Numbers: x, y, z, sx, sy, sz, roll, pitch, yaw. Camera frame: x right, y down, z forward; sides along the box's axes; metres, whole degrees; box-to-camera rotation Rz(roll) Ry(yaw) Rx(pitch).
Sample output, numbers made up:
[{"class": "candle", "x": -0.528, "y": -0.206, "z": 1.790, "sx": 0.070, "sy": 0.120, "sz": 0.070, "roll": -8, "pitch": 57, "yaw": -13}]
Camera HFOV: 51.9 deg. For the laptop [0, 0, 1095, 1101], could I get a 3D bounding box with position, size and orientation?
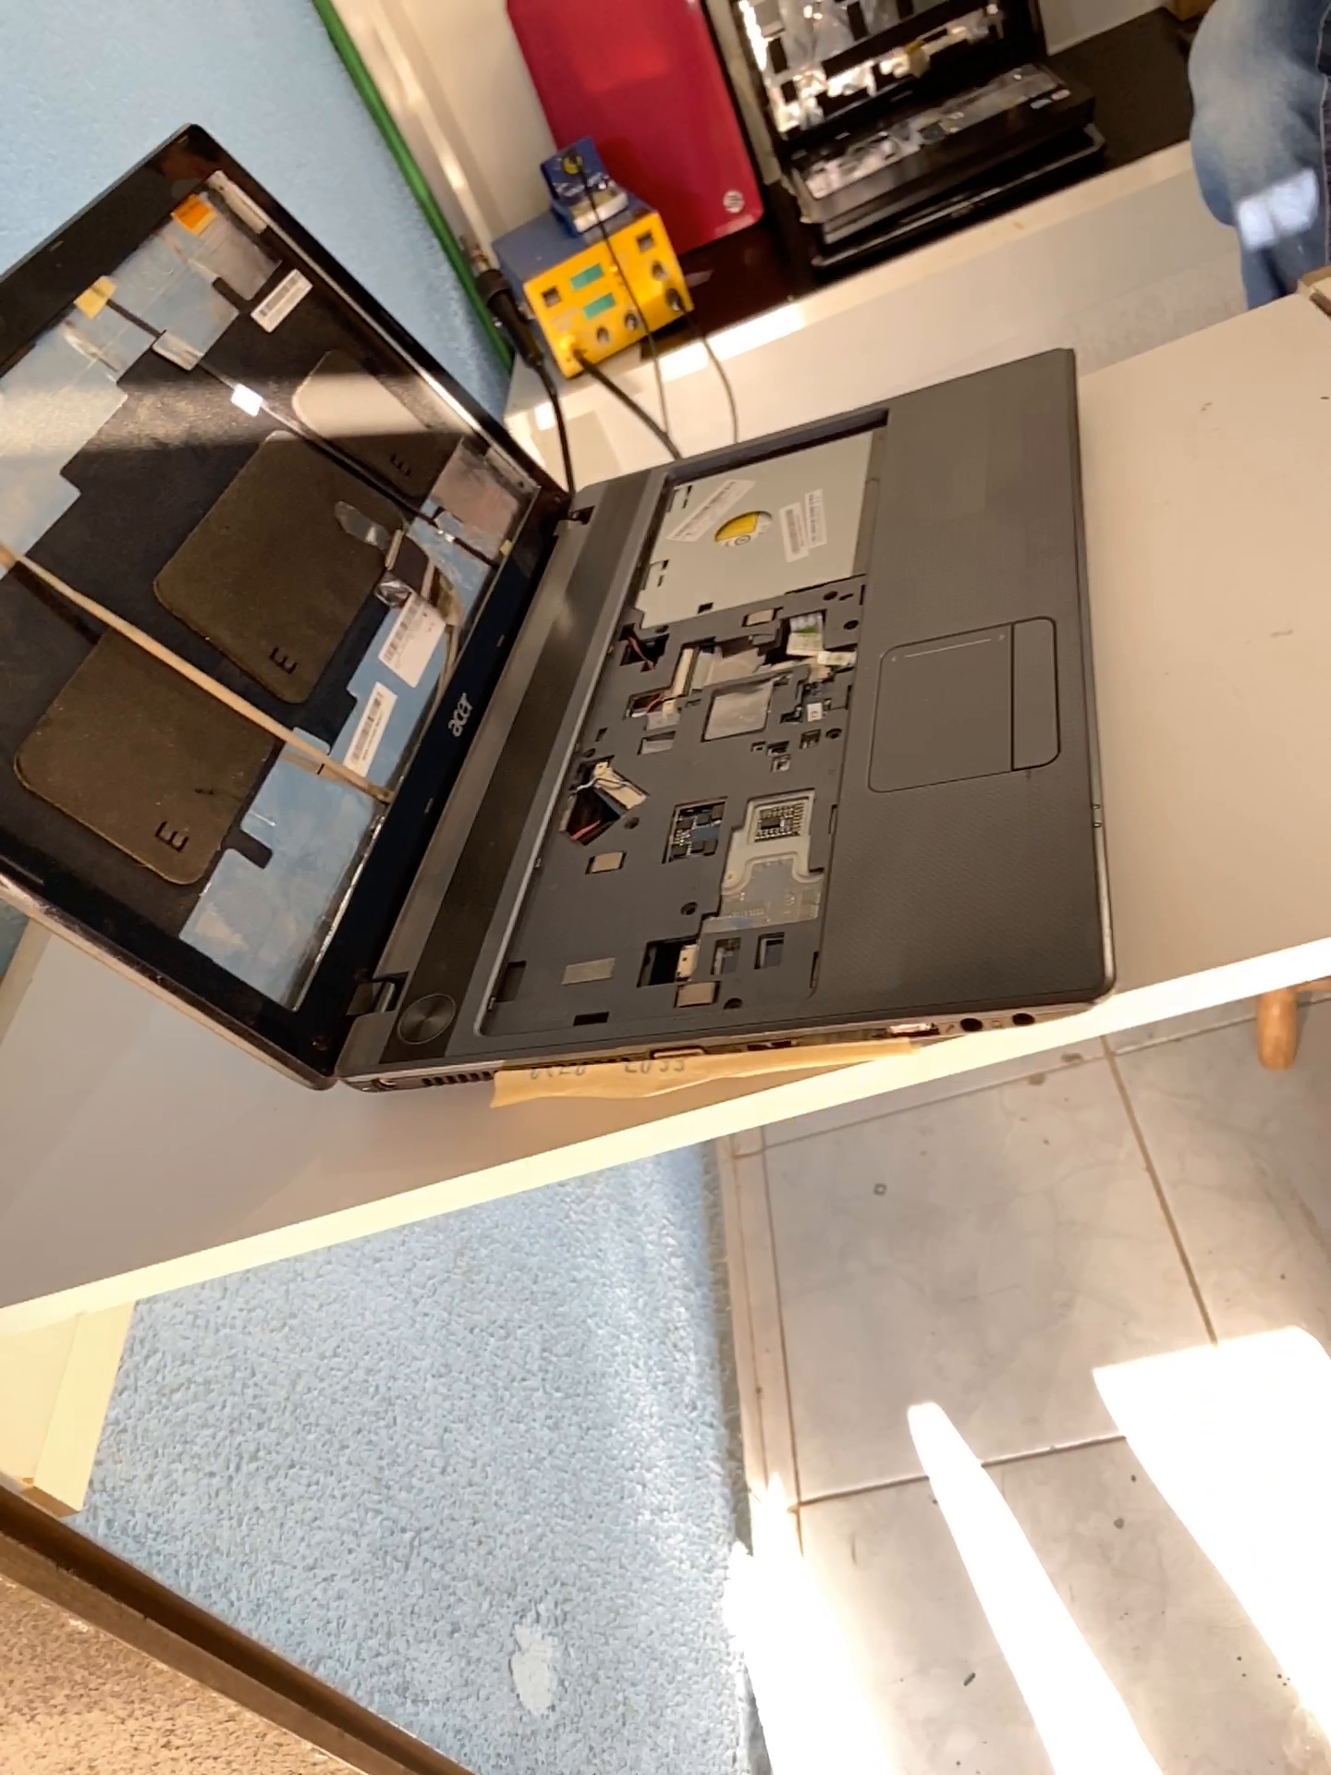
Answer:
[{"class": "laptop", "x": -0.056, "y": -0.156, "z": 0.487, "sx": 0.349, "sy": 0.210, "sz": 0.380, "roll": -9, "pitch": 42, "yaw": 23}]
